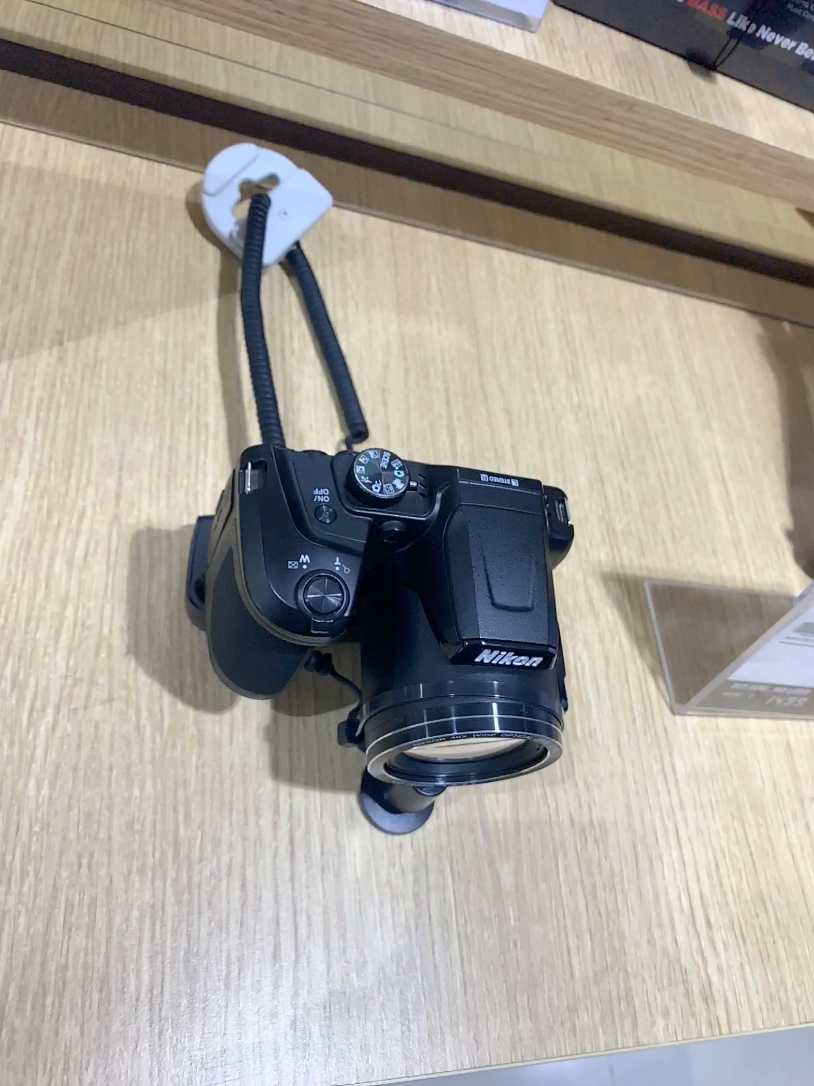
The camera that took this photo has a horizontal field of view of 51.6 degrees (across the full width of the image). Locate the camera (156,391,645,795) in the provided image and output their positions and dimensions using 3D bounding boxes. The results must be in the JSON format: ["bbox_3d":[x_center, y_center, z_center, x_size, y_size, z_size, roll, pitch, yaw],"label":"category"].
[{"bbox_3d":[-0.008,0.023,0.264,0.120,0.080,0.090,7,59,-20],"label":"camera"}]
